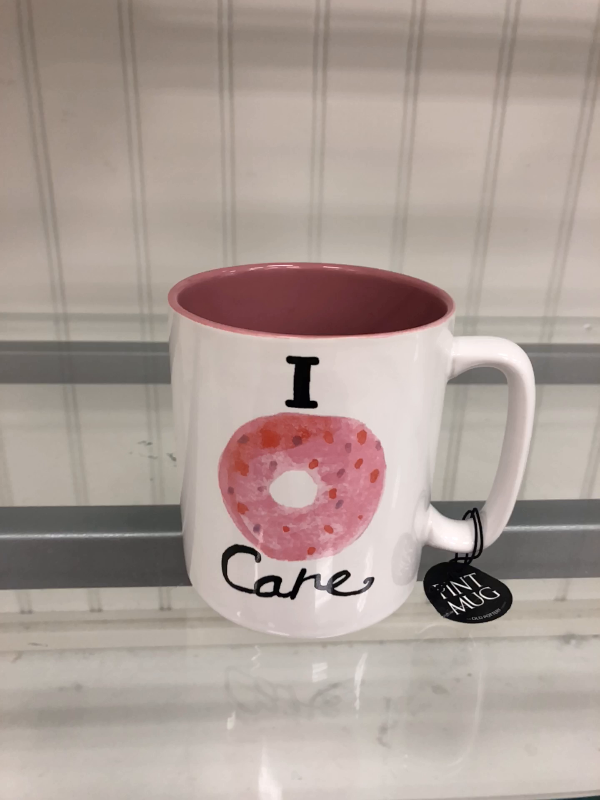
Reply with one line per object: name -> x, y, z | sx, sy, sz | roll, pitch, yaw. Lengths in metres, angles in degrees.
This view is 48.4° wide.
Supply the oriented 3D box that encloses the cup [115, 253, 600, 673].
cup -> 0.019, 0.015, 0.253 | 0.137, 0.112, 0.101 | 4, 24, 5
